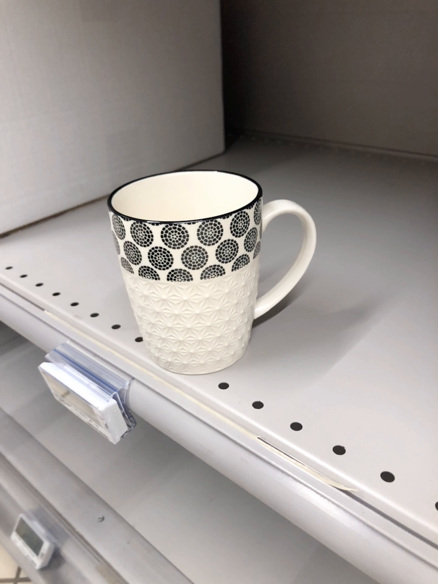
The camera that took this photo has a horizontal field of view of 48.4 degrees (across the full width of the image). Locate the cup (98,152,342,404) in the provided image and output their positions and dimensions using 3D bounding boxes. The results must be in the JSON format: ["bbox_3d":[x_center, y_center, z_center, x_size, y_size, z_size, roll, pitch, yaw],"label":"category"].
[{"bbox_3d":[-0.002,-0.015,0.283,0.106,0.096,0.089,-14,32,-15],"label":"cup"}]
